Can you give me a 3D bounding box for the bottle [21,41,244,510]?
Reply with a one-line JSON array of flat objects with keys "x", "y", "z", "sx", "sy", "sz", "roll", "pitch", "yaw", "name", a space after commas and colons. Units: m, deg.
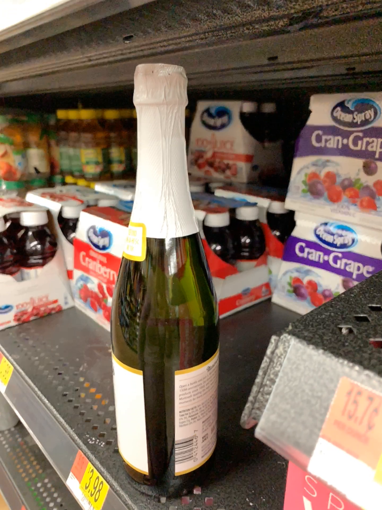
[{"x": -0.025, "y": 0.030, "z": 0.275, "sx": 0.090, "sy": 0.299, "sz": 0.090, "roll": -1, "pitch": 20, "yaw": 0, "name": "bottle"}]
